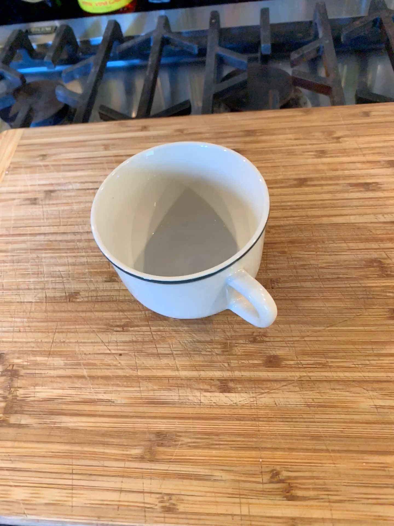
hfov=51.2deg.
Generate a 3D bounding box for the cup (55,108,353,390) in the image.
[{"bbox_3d":[0.002,-0.014,0.227,0.090,0.060,0.120,-40,60,-17],"label":"cup"}]
